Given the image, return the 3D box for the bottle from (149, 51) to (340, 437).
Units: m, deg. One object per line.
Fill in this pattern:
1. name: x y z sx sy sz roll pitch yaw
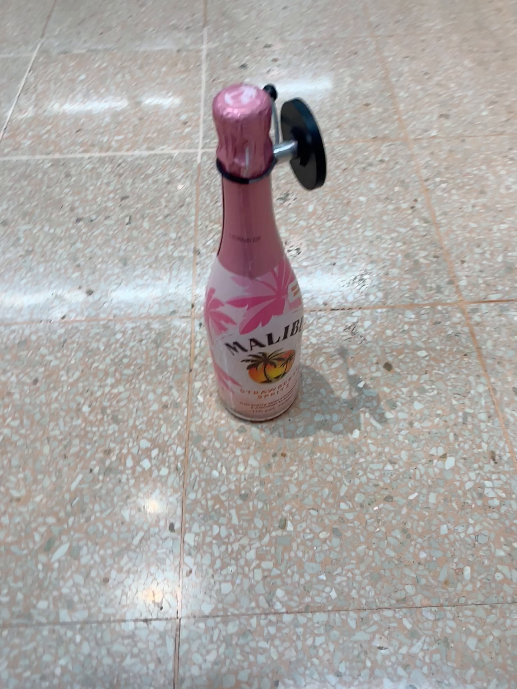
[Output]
1. bottle: -0.005 -0.042 0.407 0.080 0.308 0.081 -1 55 2
